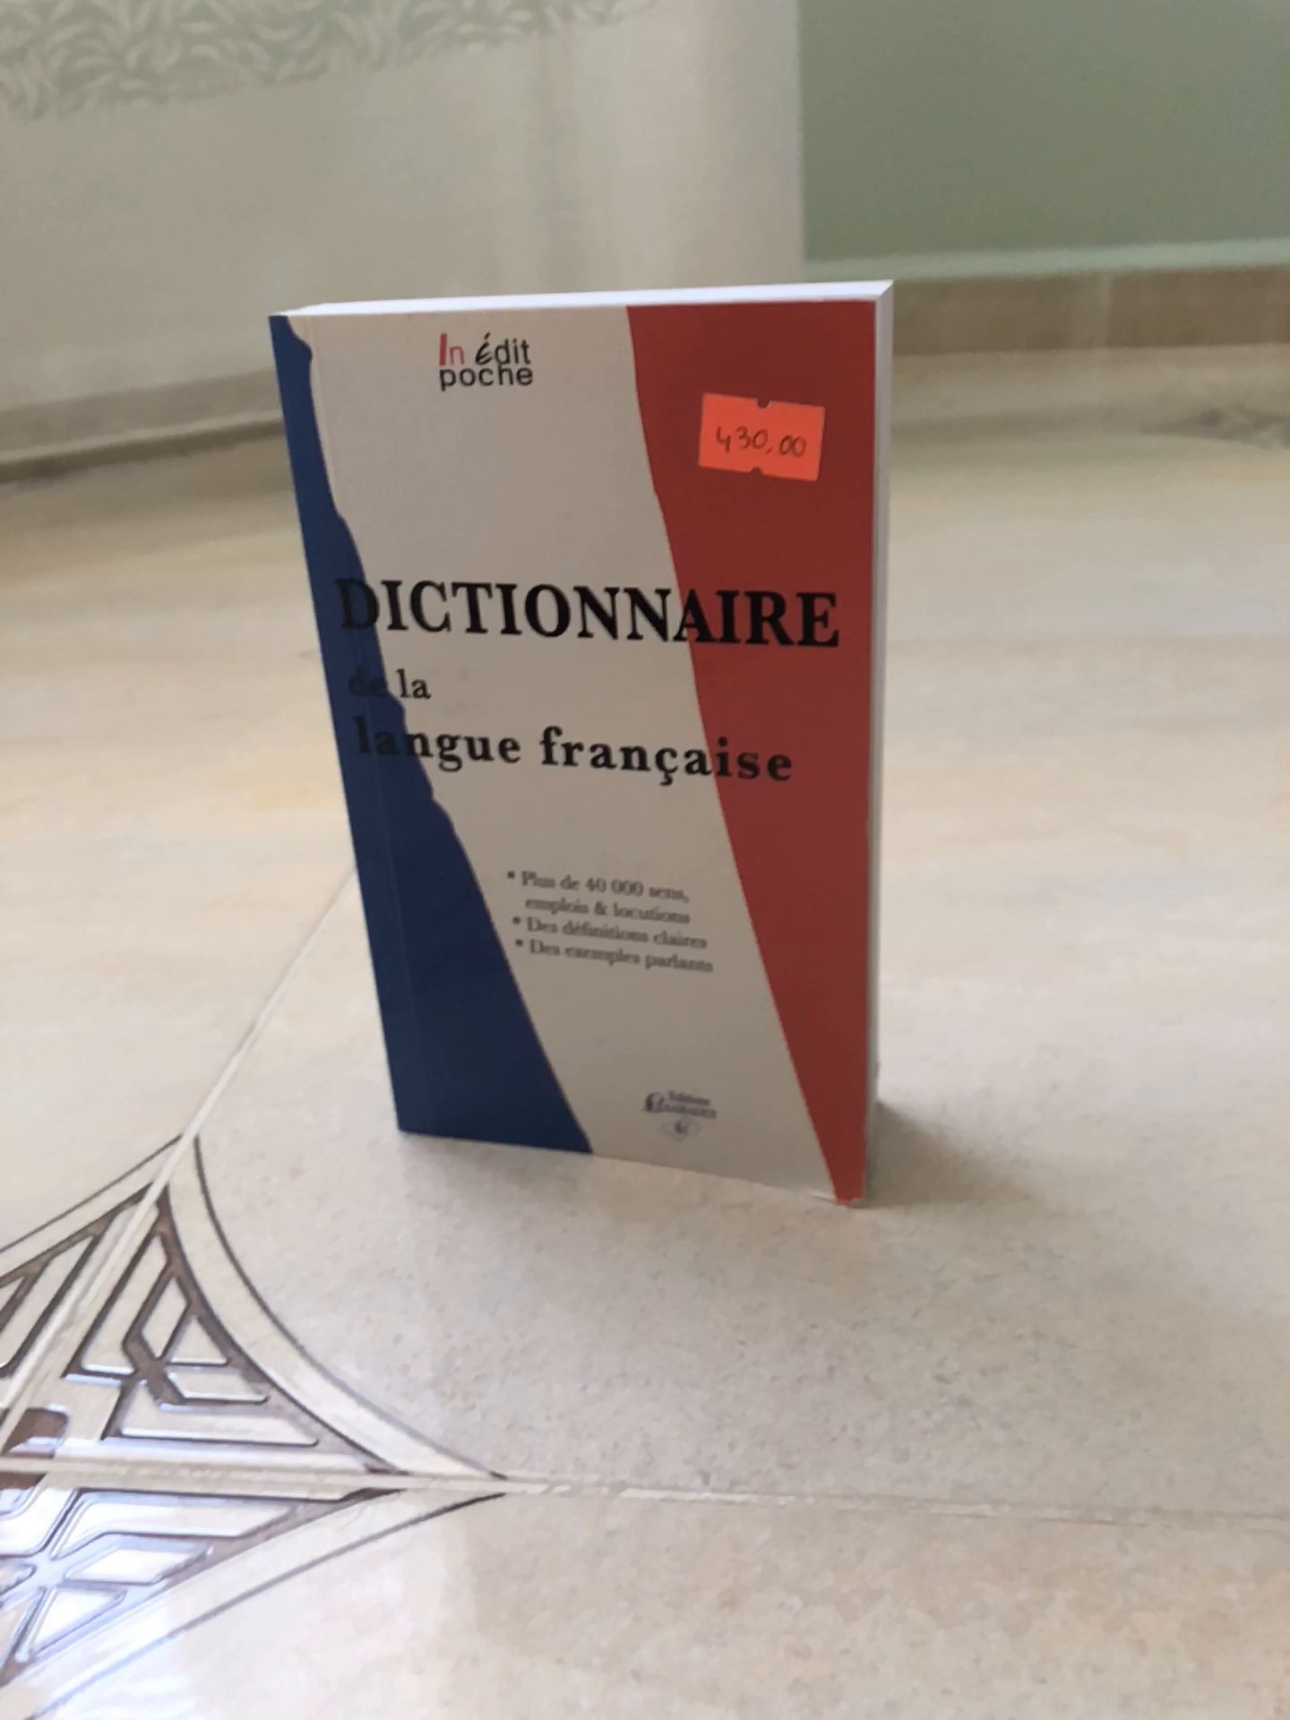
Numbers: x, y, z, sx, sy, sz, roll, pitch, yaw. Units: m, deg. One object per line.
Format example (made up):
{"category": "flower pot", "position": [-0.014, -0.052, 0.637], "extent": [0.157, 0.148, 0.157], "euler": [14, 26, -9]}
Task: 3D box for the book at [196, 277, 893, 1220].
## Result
{"category": "book", "position": [-0.013, -0.019, 0.296], "extent": [0.121, 0.182, 0.034], "euler": [5, 27, 18]}
